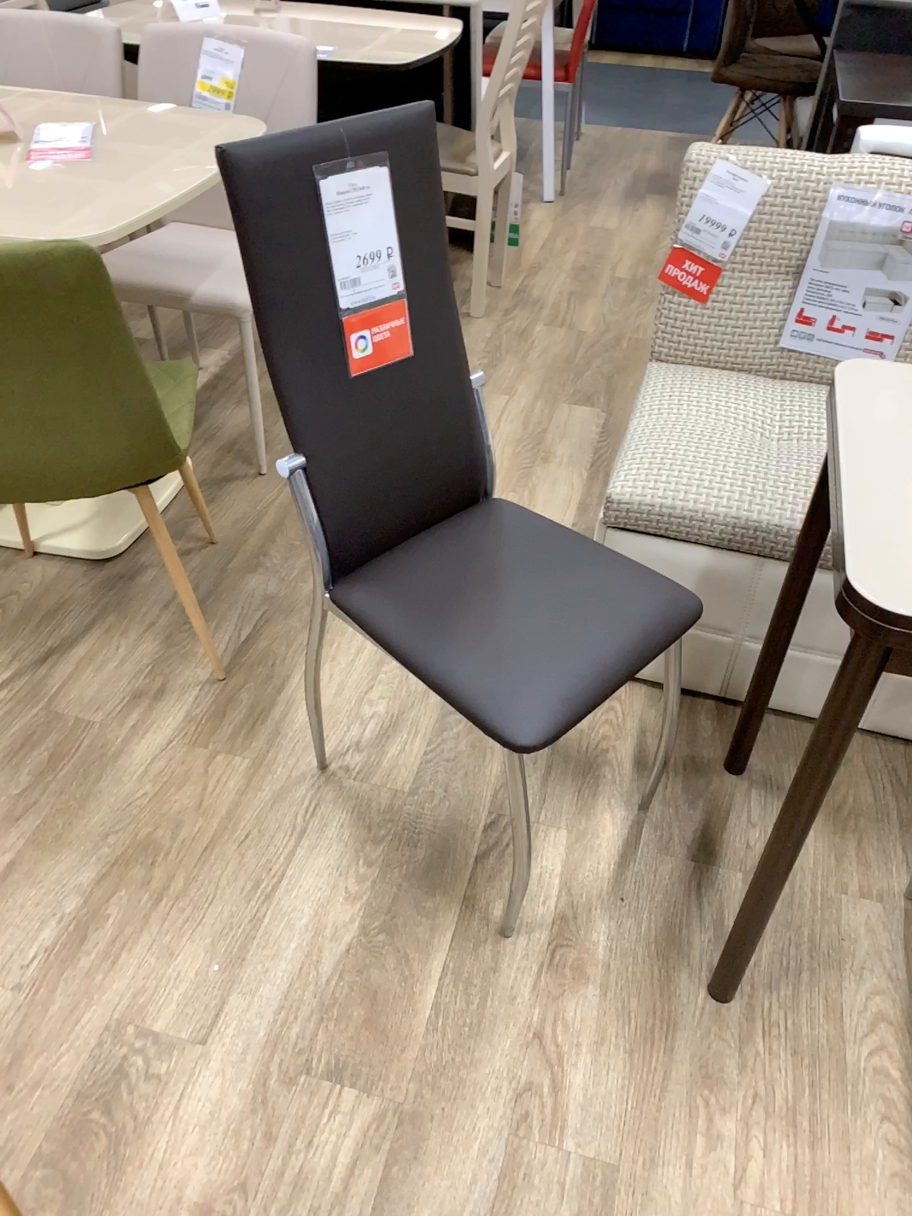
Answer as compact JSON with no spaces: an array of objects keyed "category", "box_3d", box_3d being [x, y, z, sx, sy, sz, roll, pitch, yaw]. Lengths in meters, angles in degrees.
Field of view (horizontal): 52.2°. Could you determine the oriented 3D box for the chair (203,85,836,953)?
[{"category":"chair","box_3d":[0.046,-0.086,1.282,0.421,0.994,0.501,-31,51,-32]}]
